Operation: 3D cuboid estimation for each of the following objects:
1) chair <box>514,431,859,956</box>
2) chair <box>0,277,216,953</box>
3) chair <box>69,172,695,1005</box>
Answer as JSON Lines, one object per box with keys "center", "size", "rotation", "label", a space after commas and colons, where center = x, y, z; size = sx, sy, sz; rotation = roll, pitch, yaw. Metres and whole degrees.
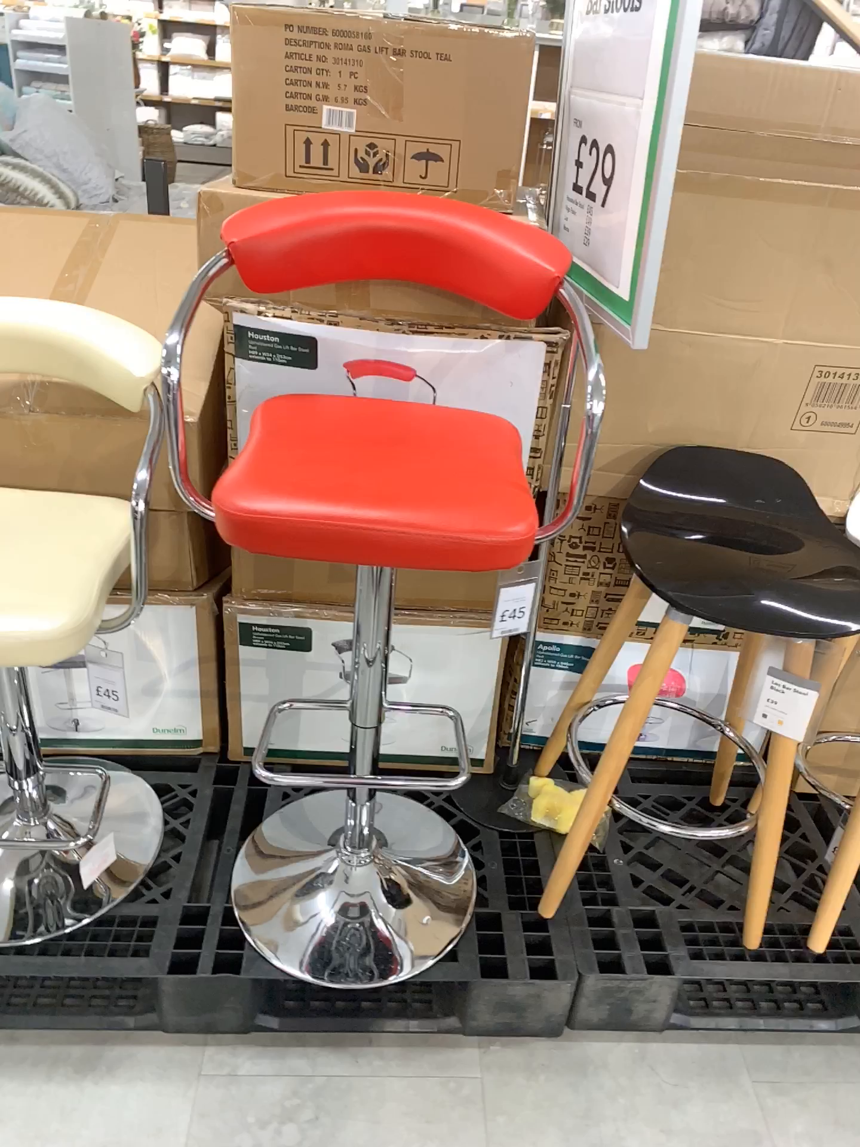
{"center": [0.411, 0.195, 1.398], "size": [0.425, 0.710, 0.392], "rotation": [4, 29, -3], "label": "chair"}
{"center": [-0.617, 0.070, 1.278], "size": [0.495, 0.838, 0.463], "rotation": [3, 29, -5], "label": "chair"}
{"center": [-0.086, 0.034, 1.203], "size": [0.525, 0.977, 0.533], "rotation": [3, 29, -5], "label": "chair"}
